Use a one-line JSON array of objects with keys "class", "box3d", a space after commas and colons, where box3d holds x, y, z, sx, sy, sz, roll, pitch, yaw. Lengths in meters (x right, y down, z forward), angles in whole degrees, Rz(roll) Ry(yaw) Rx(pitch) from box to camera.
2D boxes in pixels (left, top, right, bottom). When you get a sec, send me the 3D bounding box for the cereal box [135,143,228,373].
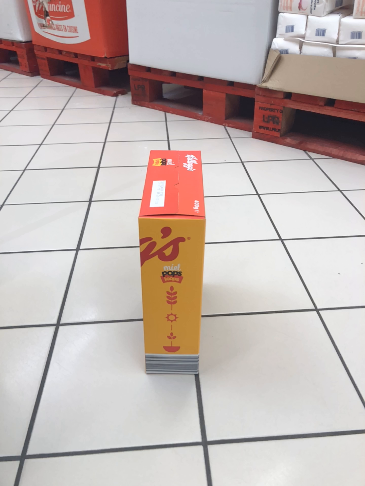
[{"class": "cereal box", "box3d": [0.001, 0.016, 0.533, 0.090, 0.239, 0.191, 0, 33, 1]}]
